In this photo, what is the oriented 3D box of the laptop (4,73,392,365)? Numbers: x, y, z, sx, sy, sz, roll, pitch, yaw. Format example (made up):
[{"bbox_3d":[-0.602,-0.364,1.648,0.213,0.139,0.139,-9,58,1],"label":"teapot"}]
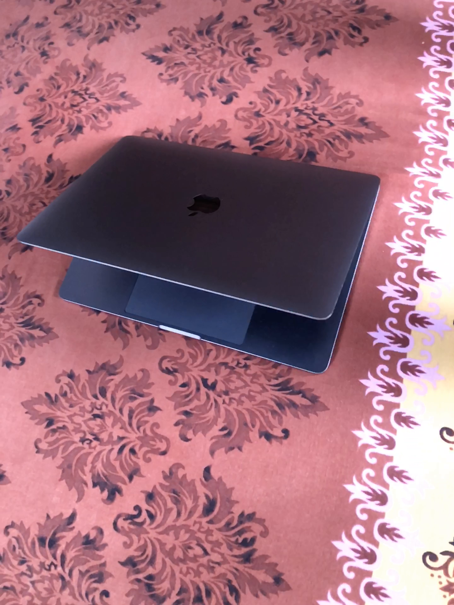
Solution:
[{"bbox_3d":[-0.022,-0.087,0.469,0.286,0.093,0.204,16,75,19],"label":"laptop"}]
